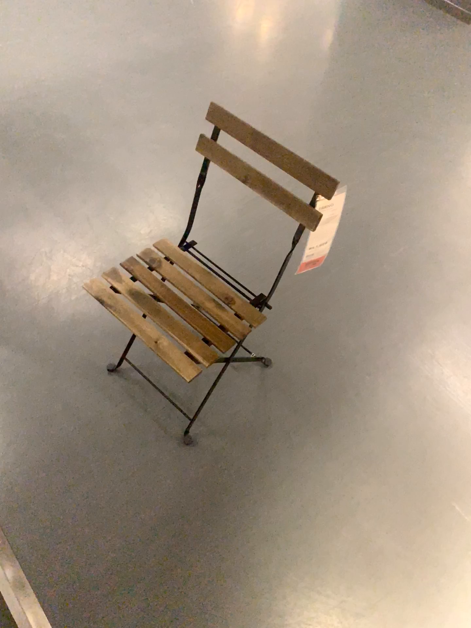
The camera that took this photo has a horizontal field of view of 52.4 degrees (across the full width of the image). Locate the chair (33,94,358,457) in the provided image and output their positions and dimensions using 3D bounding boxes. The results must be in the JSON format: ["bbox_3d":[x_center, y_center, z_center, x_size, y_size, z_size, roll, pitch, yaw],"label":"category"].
[{"bbox_3d":[-0.098,-0.066,1.256,0.430,0.698,0.501,39,60,19],"label":"chair"}]
